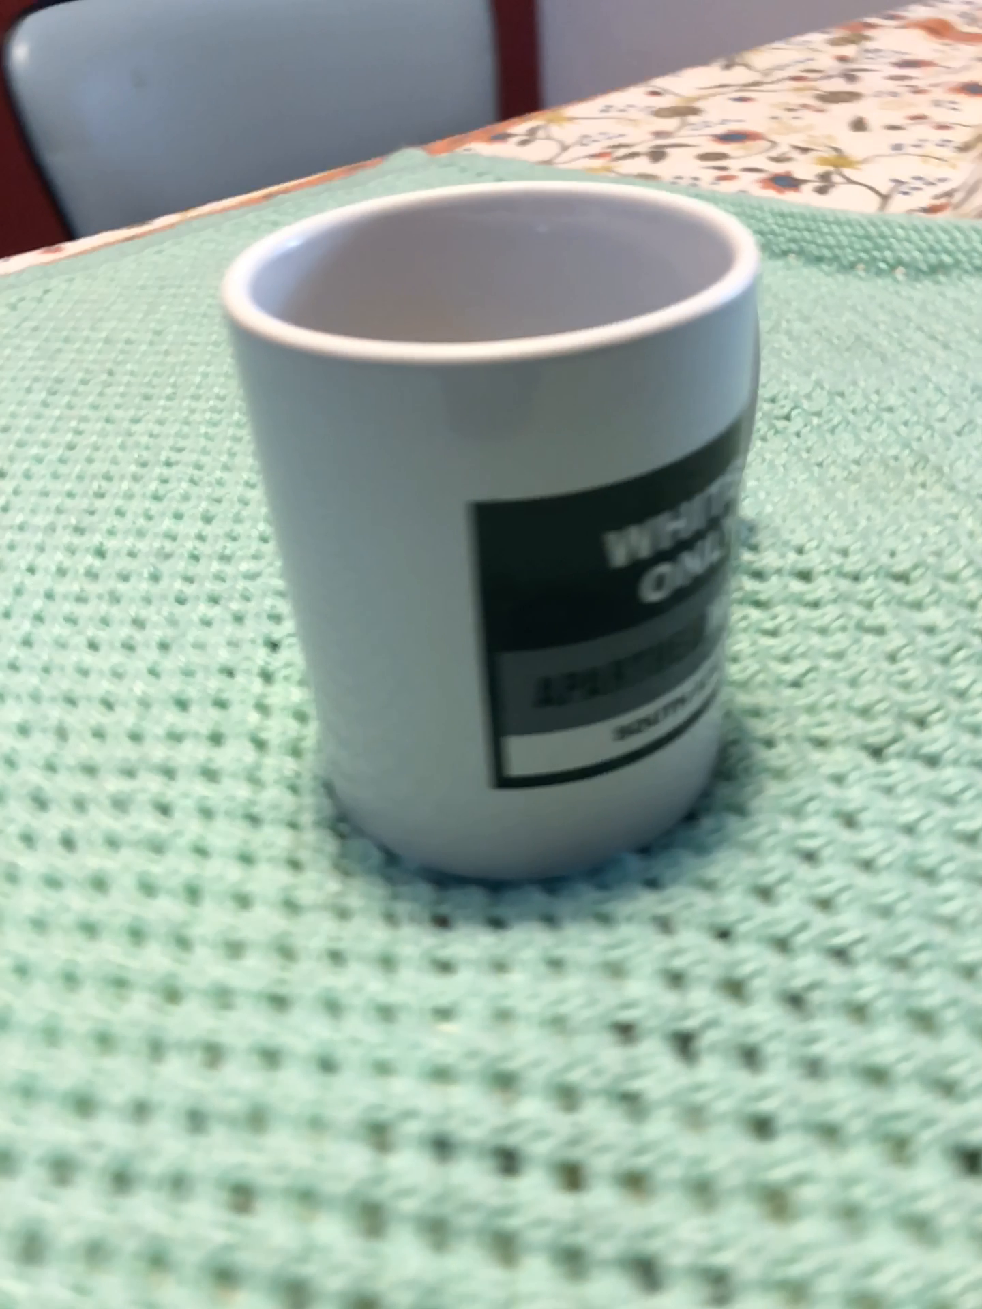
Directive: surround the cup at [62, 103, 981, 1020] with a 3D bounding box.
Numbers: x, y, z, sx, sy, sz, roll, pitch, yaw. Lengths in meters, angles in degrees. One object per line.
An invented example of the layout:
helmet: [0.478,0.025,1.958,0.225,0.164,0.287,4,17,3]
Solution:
cup: [0.025,-0.035,0.193,0.100,0.079,0.141,24,46,32]
